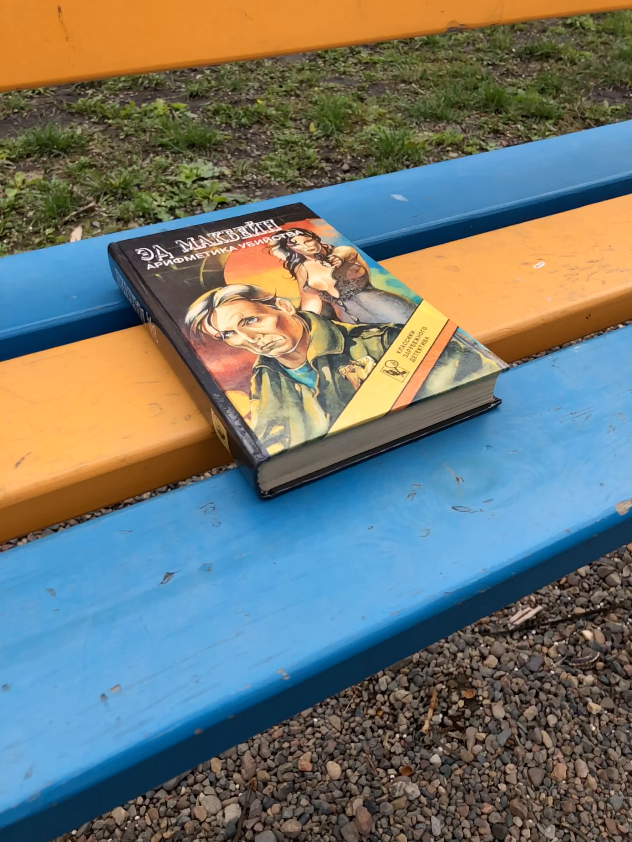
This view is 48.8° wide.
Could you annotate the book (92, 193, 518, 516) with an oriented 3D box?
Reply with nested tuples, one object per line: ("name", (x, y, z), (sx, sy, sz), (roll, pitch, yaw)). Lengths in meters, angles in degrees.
("book", (-0.019, -0.055, 0.372), (0.135, 0.030, 0.211), (-20, 46, -22))
